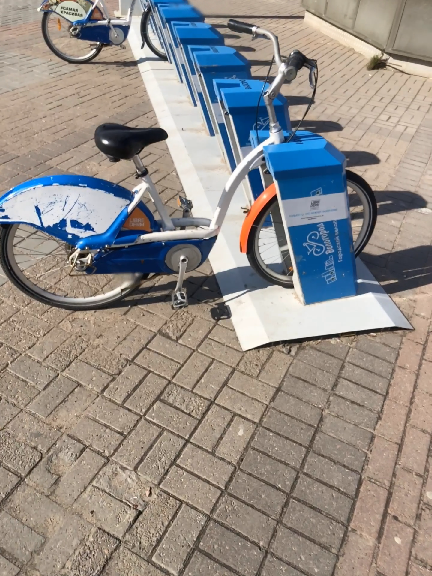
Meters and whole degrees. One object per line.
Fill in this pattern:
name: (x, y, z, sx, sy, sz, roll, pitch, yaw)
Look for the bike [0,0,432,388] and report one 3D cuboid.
bike: (-0.018, -0.414, 1.899, 1.675, 1.233, 0.685, -6, 40, -10)
